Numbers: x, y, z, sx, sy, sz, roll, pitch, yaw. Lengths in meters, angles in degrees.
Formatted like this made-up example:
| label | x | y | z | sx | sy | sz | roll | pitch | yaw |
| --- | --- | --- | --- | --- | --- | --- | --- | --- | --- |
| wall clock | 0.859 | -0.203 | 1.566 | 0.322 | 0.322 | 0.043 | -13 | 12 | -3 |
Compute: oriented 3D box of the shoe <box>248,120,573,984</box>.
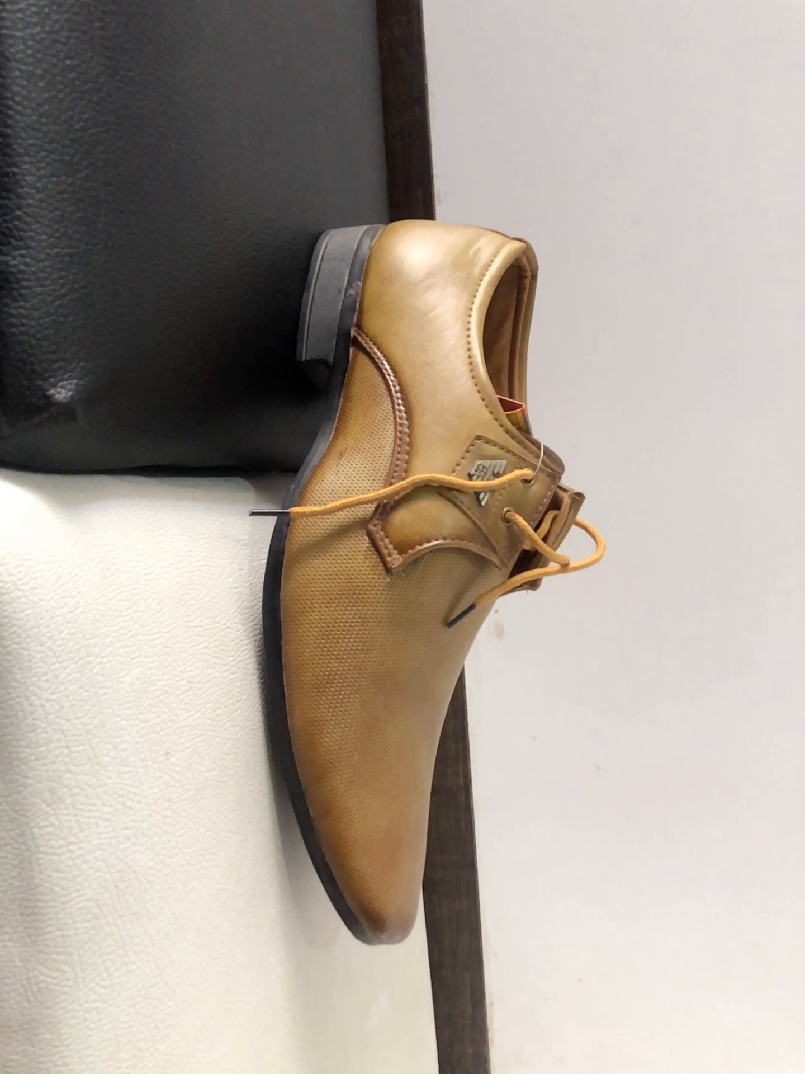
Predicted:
| label | x | y | z | sx | sy | sz | roll | pitch | yaw |
| --- | --- | --- | --- | --- | --- | --- | --- | --- | --- |
| shoe | 0.012 | 0.002 | 0.350 | 0.101 | 0.090 | 0.290 | 39 | 50 | -68 |
